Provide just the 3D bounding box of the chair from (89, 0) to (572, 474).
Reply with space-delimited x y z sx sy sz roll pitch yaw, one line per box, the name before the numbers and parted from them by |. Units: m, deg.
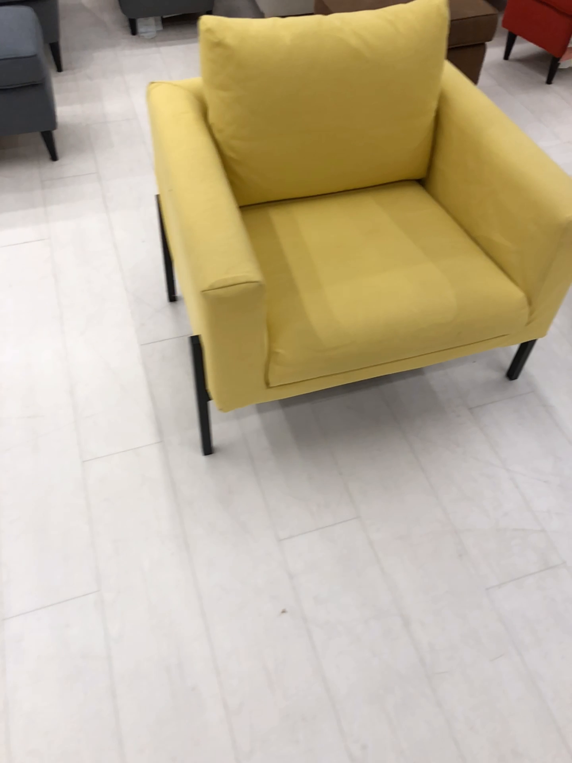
chair | 0.154 -0.386 1.494 0.980 0.758 0.692 -13 53 -12
